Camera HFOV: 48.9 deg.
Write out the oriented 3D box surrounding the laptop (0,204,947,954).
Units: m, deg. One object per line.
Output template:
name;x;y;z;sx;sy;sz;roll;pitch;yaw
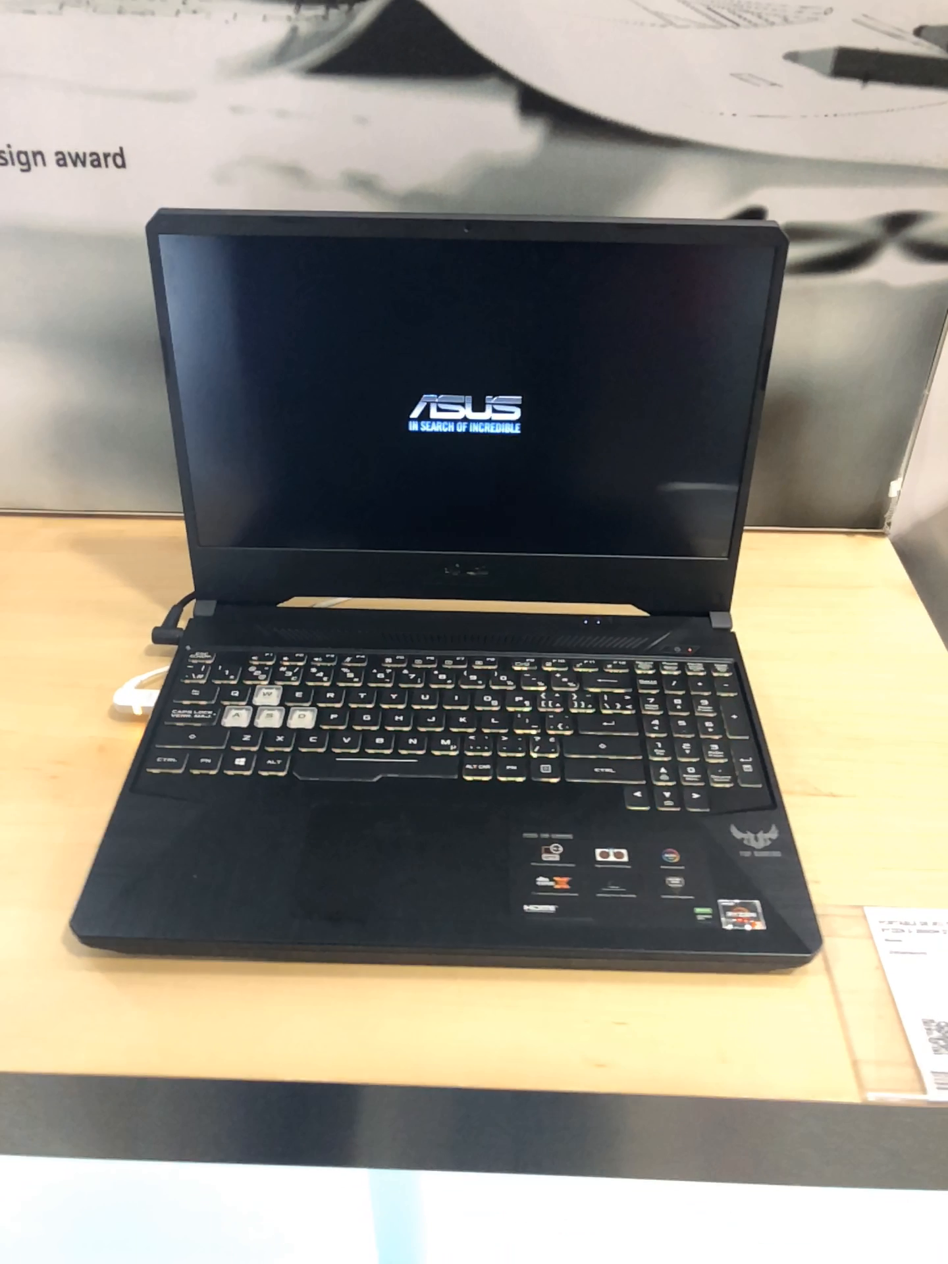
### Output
laptop;-0.012;-0.044;0.539;0.358;0.245;0.310;1;38;0
